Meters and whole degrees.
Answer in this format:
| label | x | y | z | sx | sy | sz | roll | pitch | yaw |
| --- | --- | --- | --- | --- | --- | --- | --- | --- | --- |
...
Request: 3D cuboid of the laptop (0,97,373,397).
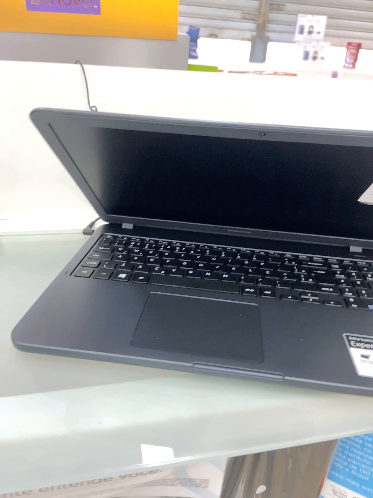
| label | x | y | z | sx | sy | sz | roll | pitch | yaw |
| --- | --- | --- | --- | --- | --- | --- | --- | --- | --- |
| laptop | 0.056 | -0.033 | 0.359 | 0.357 | 0.158 | 0.232 | 6 | 27 | 4 |
